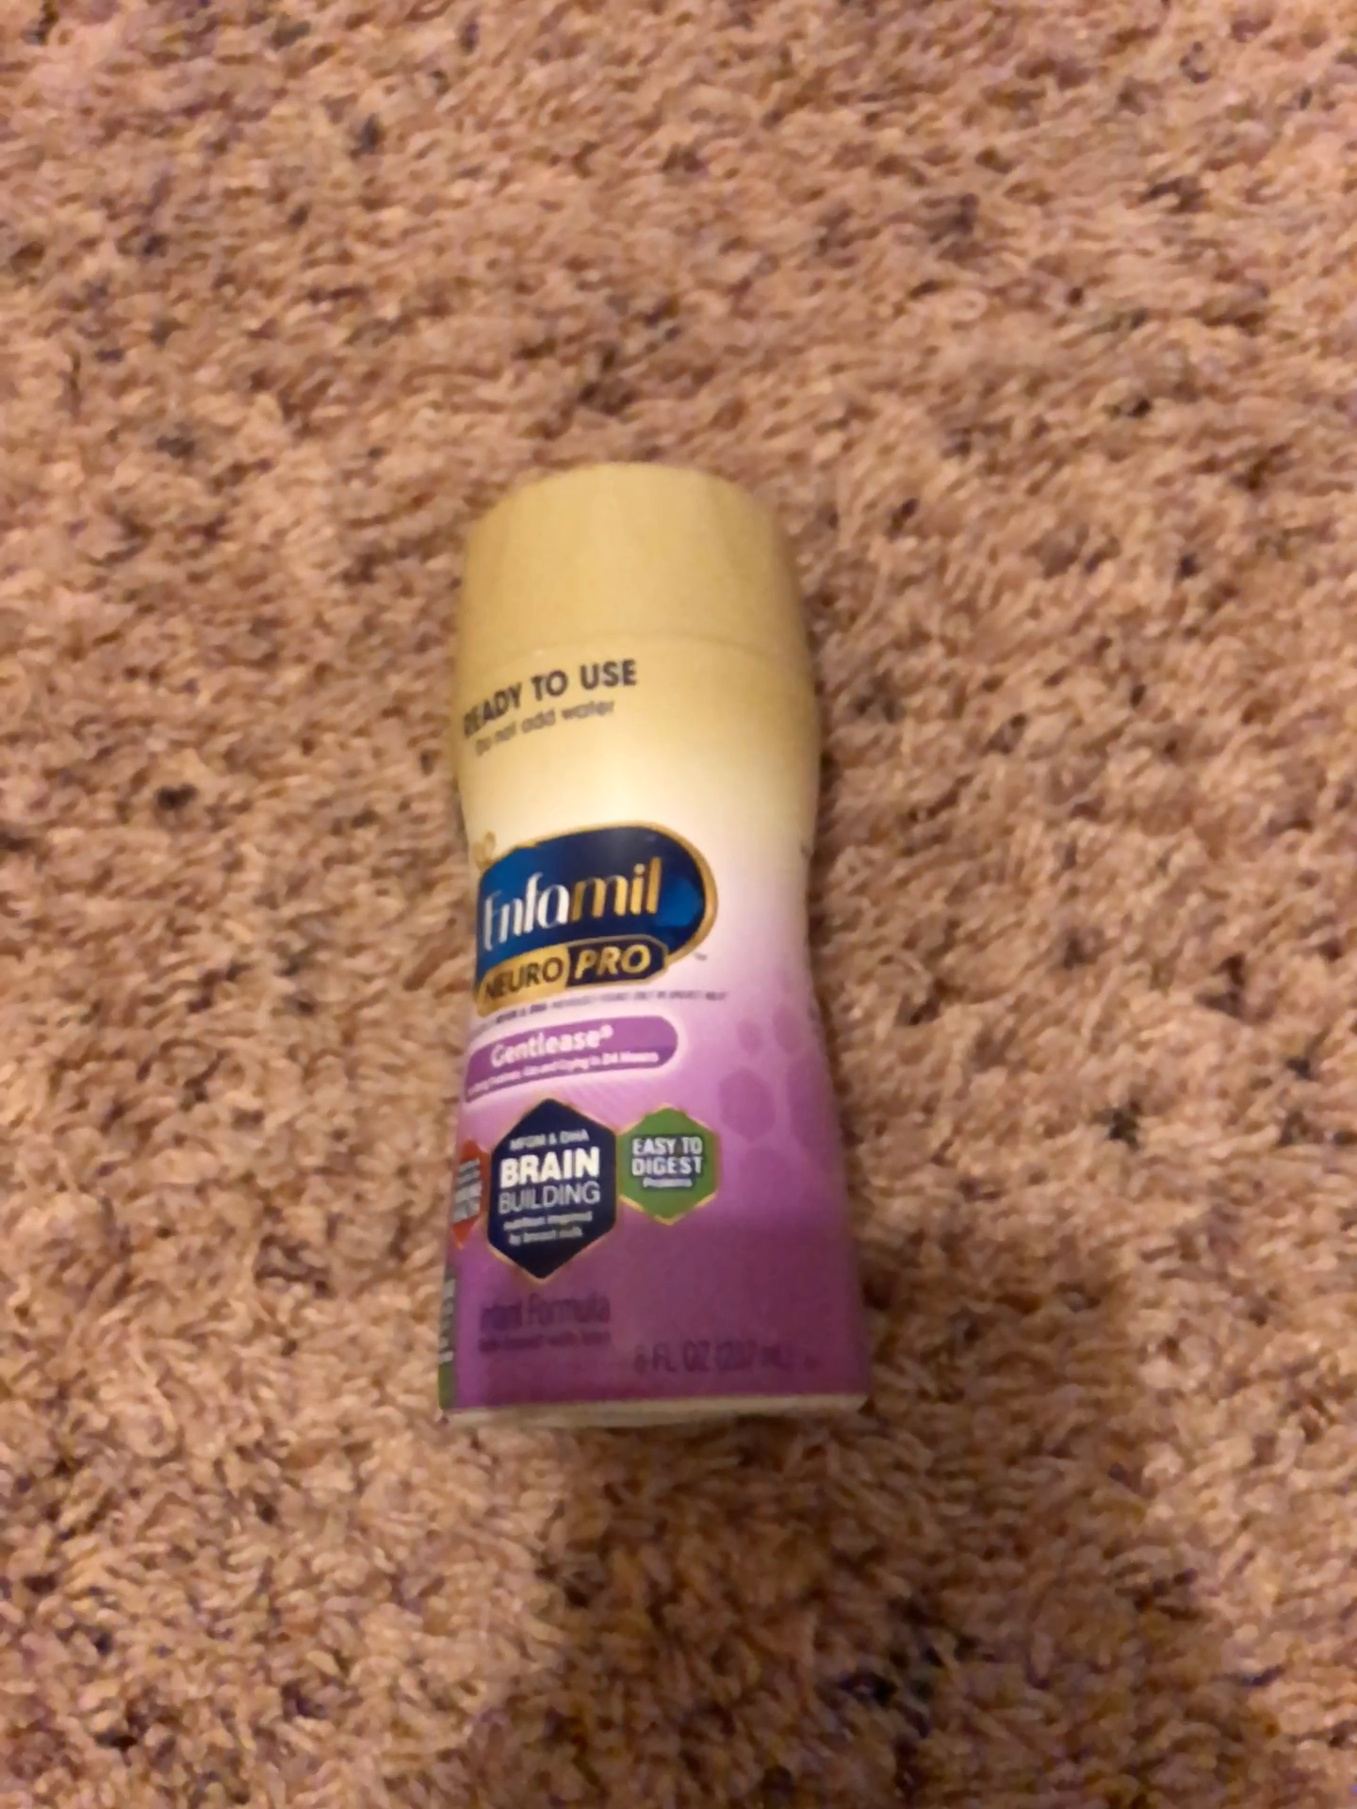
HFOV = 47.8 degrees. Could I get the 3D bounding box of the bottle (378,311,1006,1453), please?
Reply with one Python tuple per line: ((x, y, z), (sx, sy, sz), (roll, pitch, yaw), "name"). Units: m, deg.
((-0.001, 0.001, 0.231), (0.060, 0.060, 0.150), (-20, 65, 41), "bottle")
